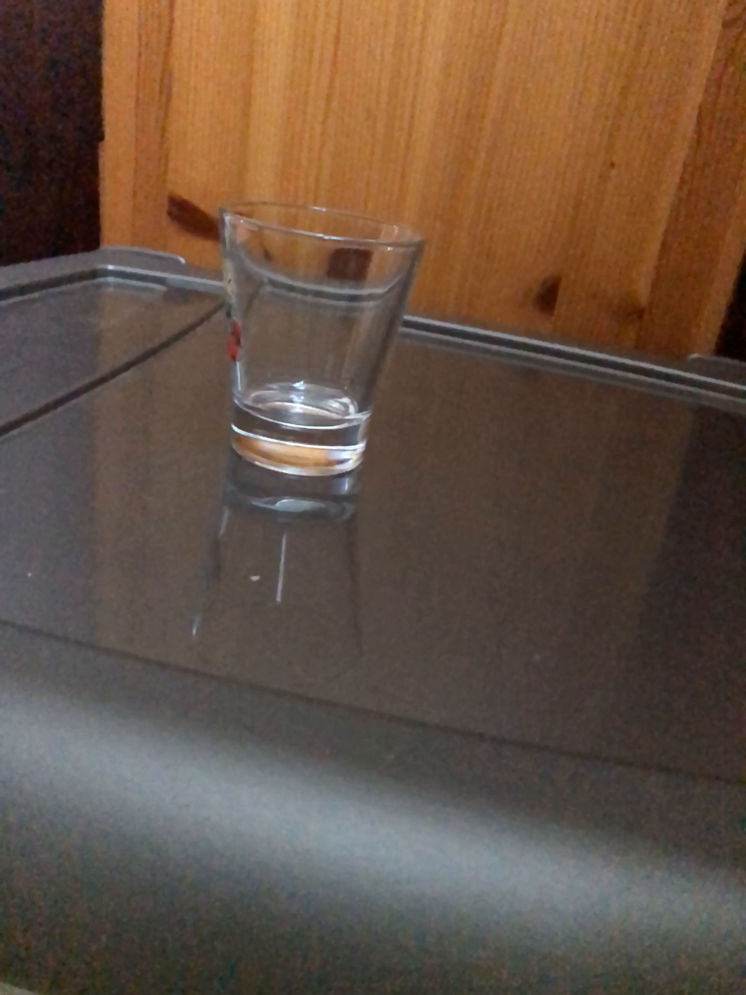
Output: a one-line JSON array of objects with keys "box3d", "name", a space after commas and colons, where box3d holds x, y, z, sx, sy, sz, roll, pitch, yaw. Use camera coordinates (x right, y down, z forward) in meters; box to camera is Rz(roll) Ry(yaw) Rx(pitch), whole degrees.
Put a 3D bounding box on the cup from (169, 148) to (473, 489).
[{"box3d": [-0.020, -0.054, 0.247, 0.060, 0.080, 0.060, 8, 25, -4], "name": "cup"}]
